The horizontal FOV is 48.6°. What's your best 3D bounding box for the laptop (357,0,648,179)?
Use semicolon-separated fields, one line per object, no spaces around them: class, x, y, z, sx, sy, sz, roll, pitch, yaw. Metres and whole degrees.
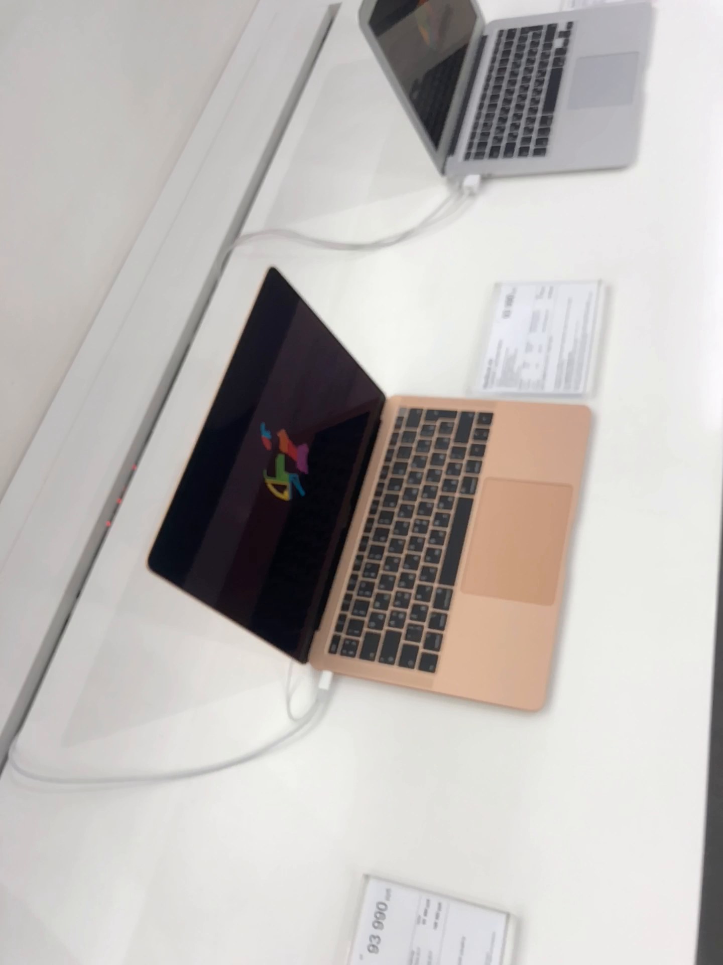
laptop;0.196;-0.587;0.993;0.283;0.209;0.364;4;59;22

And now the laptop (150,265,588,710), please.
laptop;0.032;-0.007;0.683;0.264;0.188;0.298;6;61;22
